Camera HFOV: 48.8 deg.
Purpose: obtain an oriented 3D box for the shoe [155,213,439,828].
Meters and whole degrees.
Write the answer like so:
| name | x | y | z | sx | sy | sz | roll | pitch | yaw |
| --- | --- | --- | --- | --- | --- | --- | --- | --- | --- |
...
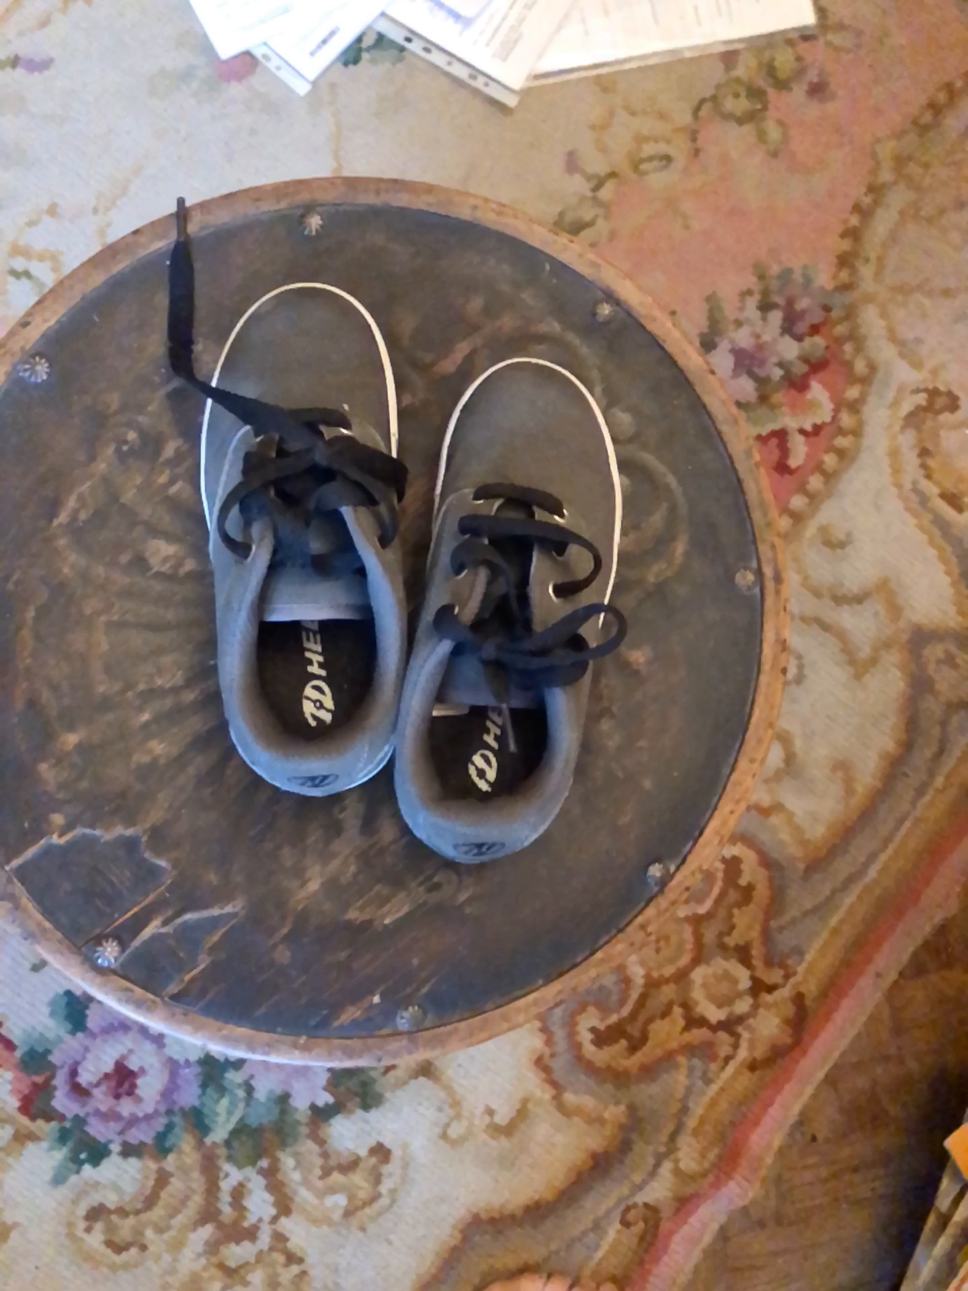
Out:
| name | x | y | z | sx | sy | sz | roll | pitch | yaw |
| --- | --- | --- | --- | --- | --- | --- | --- | --- | --- |
| shoe | -0.070 | -0.043 | 0.416 | 0.090 | 0.100 | 0.211 | -2 | 86 | -6 |

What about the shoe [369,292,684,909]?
| name | x | y | z | sx | sy | sz | roll | pitch | yaw |
| --- | --- | --- | --- | --- | --- | --- | --- | --- | --- |
| shoe | 0.012 | -0.014 | 0.429 | 0.090 | 0.100 | 0.211 | 7 | 85 | -5 |
